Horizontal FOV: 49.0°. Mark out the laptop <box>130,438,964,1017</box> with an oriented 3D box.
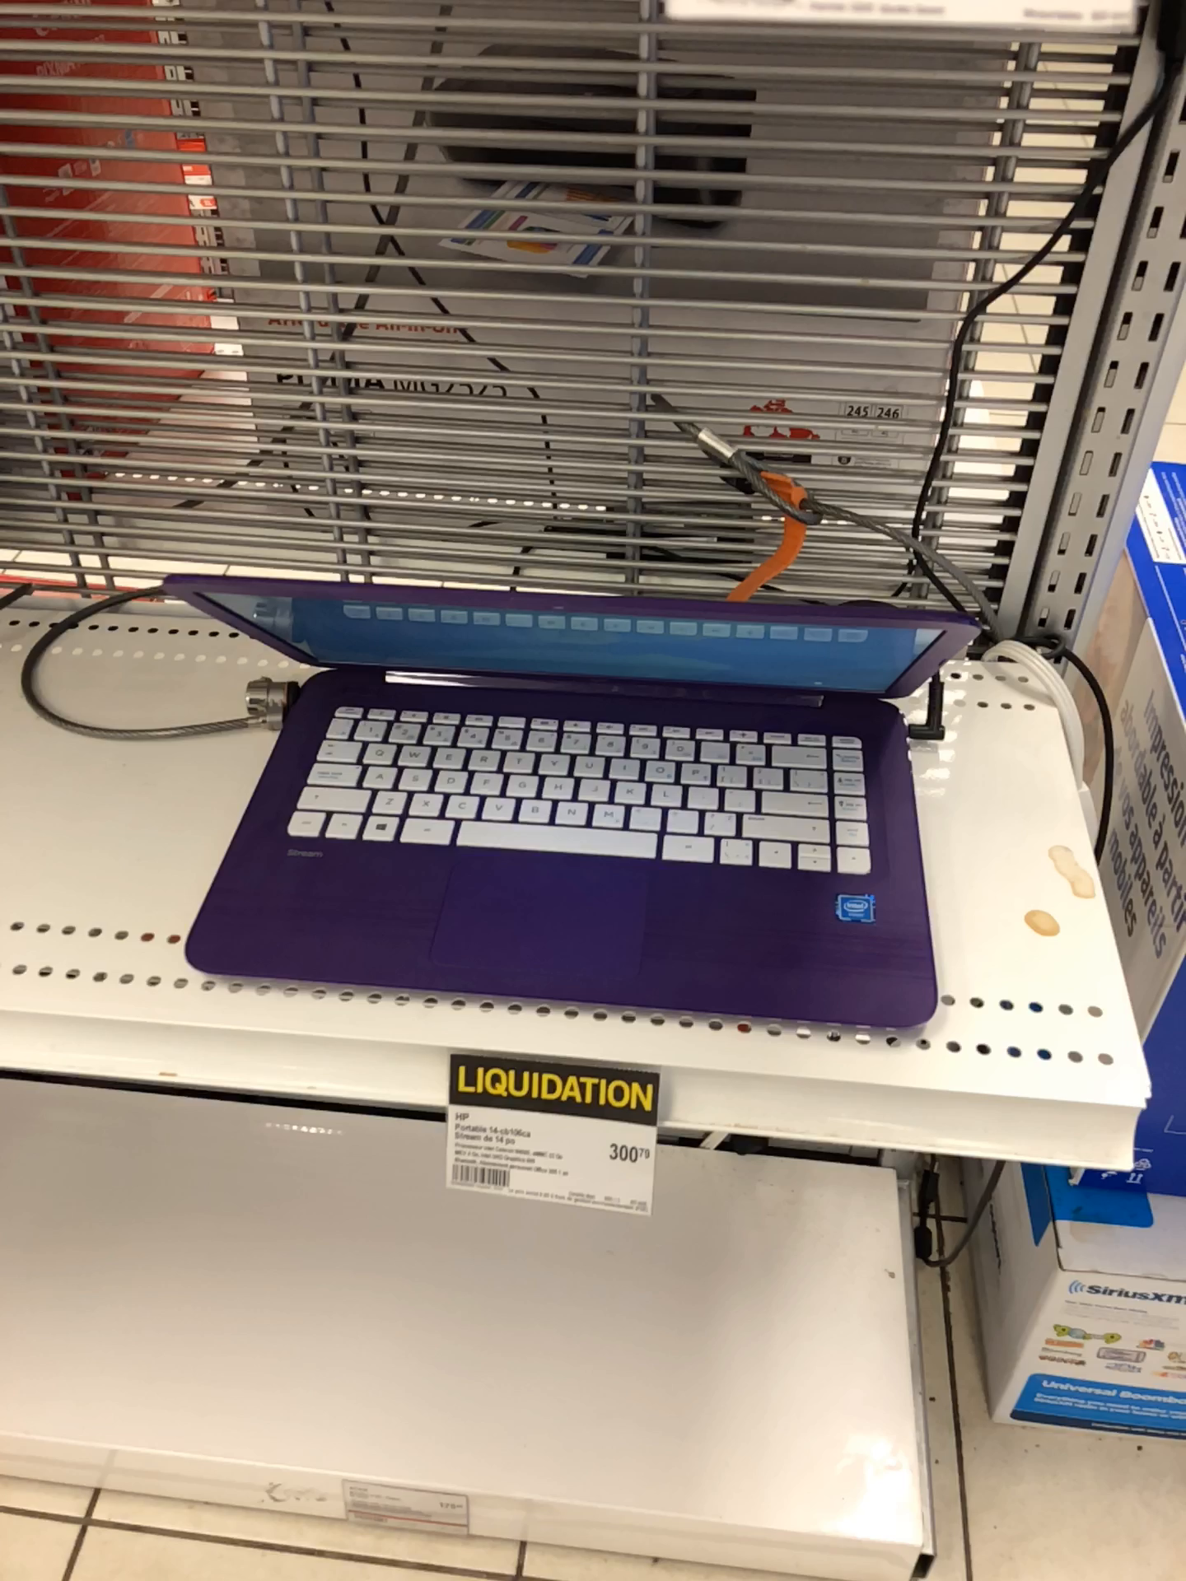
[{"bbox_3d":[-0.007,-0.038,0.589,0.305,0.138,0.207,4,44,6],"label":"laptop"}]
